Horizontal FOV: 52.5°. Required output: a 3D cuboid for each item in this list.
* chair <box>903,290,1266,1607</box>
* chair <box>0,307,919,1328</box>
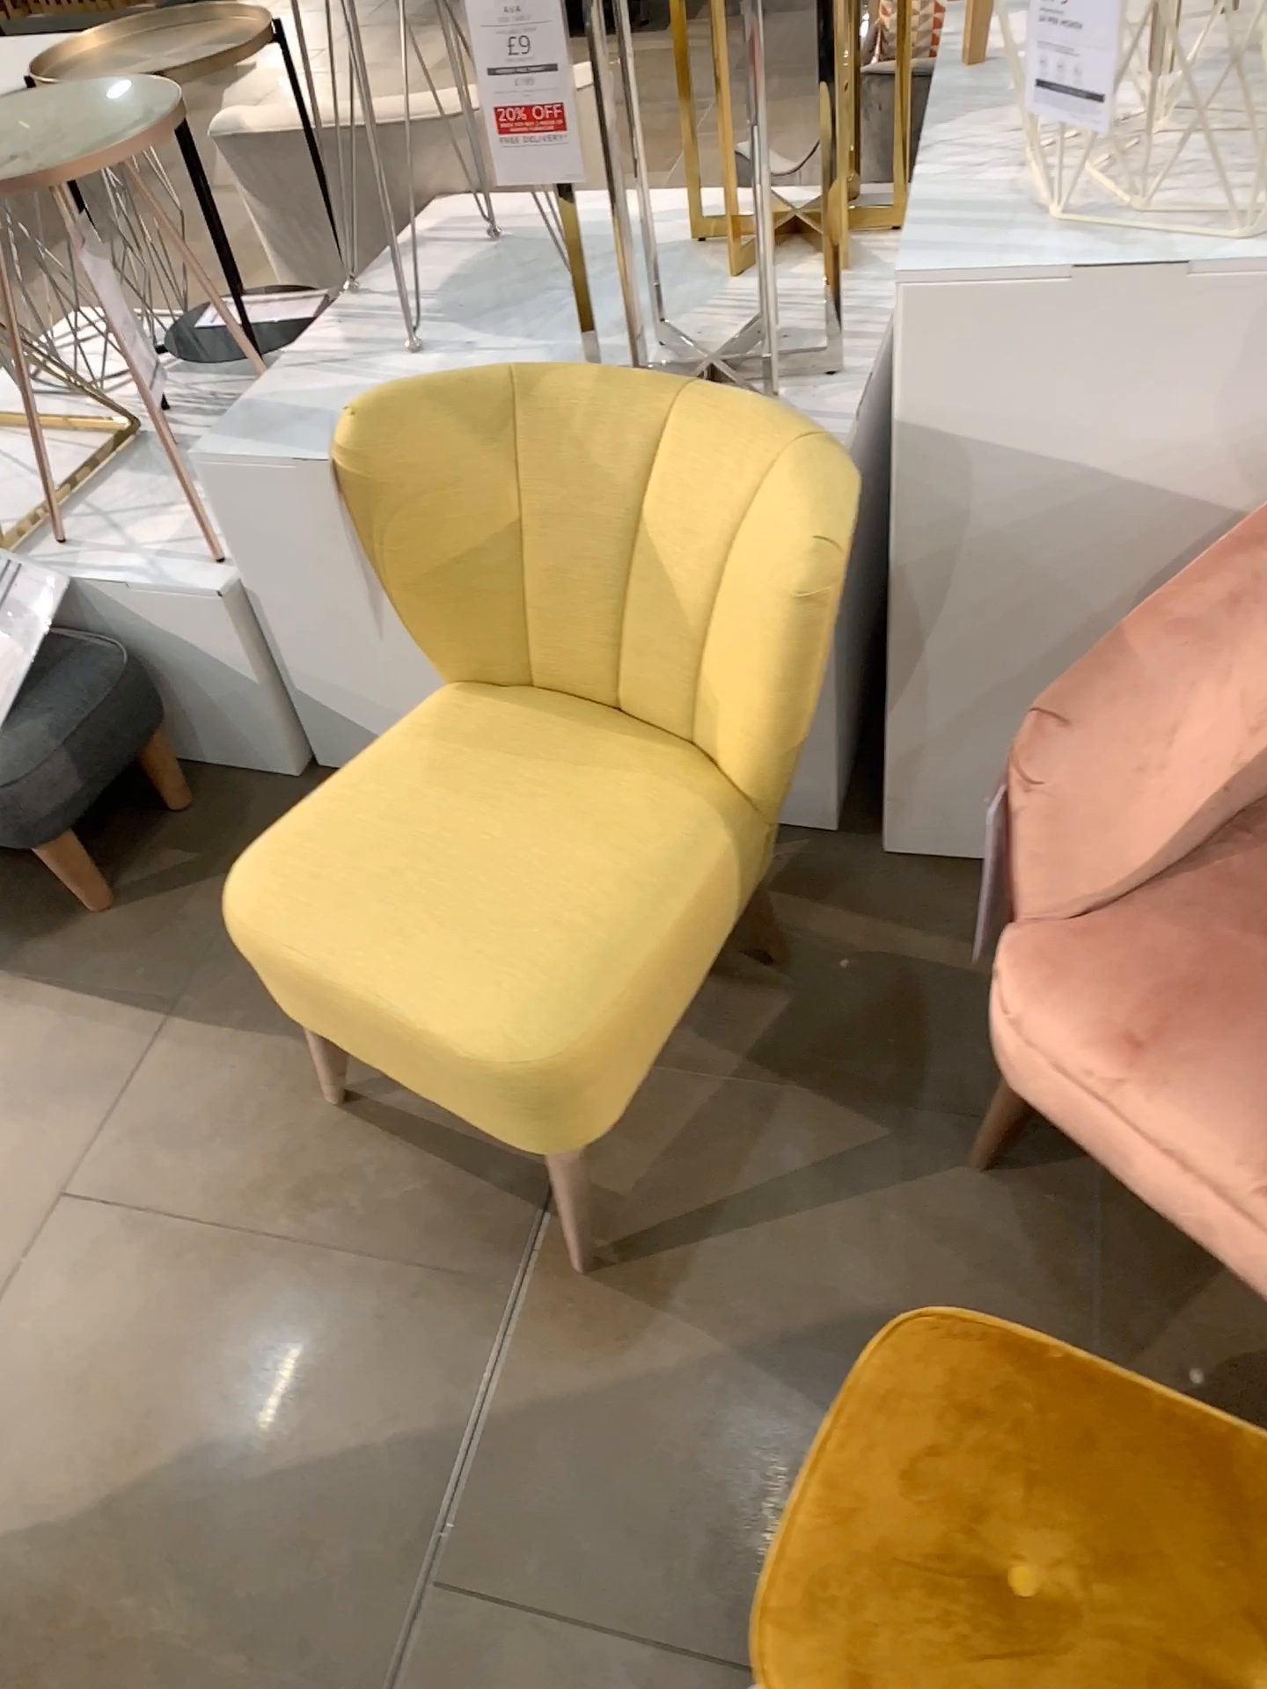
[{"bbox_3d":[0.674,0.074,1.124,0.587,0.765,0.621,-35,49,-22],"label":"chair"},{"bbox_3d":[-0.125,-0.052,1.346,0.610,0.696,0.589,25,55,31],"label":"chair"}]
